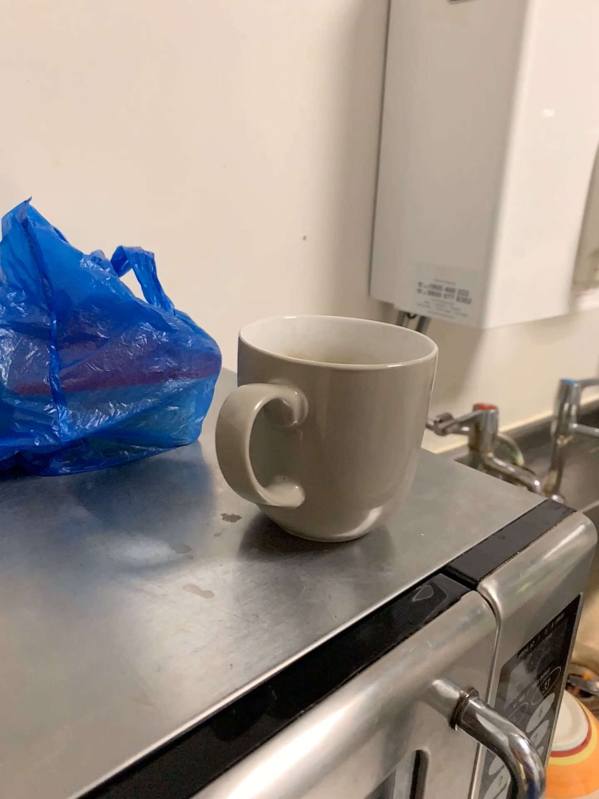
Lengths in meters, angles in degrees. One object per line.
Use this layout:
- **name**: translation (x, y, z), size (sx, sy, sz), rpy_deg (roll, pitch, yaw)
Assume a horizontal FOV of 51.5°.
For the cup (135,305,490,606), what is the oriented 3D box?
- **cup**: translation (0.007, 0.011, 0.288), size (0.129, 0.078, 0.094), rpy_deg (-16, 28, -41)
